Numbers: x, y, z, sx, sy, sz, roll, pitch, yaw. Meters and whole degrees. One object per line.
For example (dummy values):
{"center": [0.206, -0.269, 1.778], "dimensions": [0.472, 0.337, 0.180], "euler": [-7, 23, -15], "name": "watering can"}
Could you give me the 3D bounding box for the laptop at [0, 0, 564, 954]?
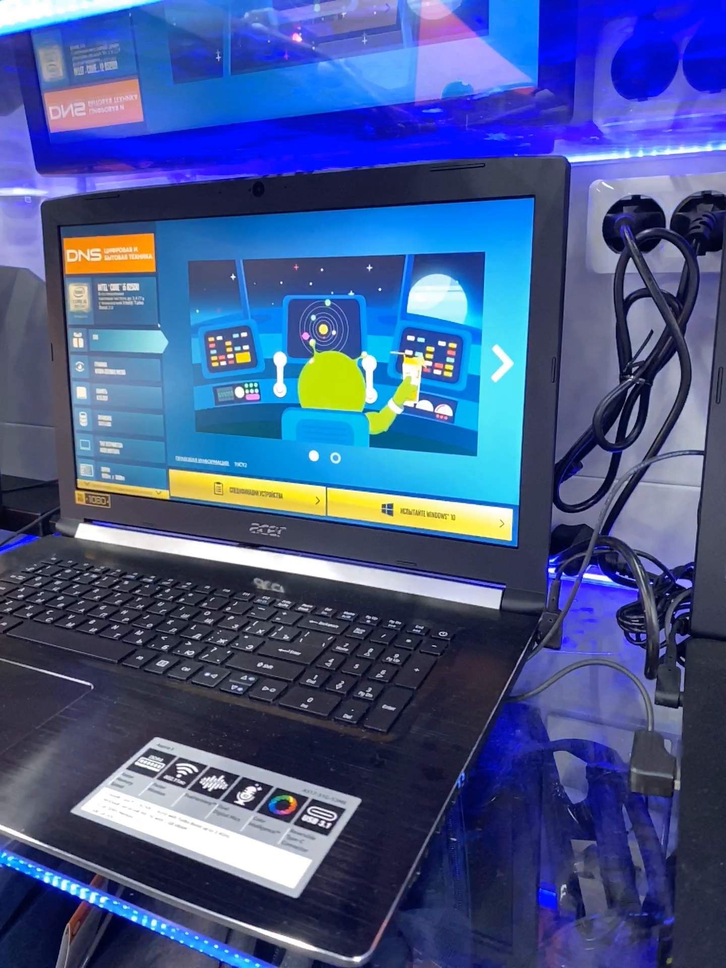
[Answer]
{"center": [-0.130, -0.041, 0.432], "dimensions": [0.424, 0.278, 0.311], "euler": [6, 17, 24], "name": "laptop"}
